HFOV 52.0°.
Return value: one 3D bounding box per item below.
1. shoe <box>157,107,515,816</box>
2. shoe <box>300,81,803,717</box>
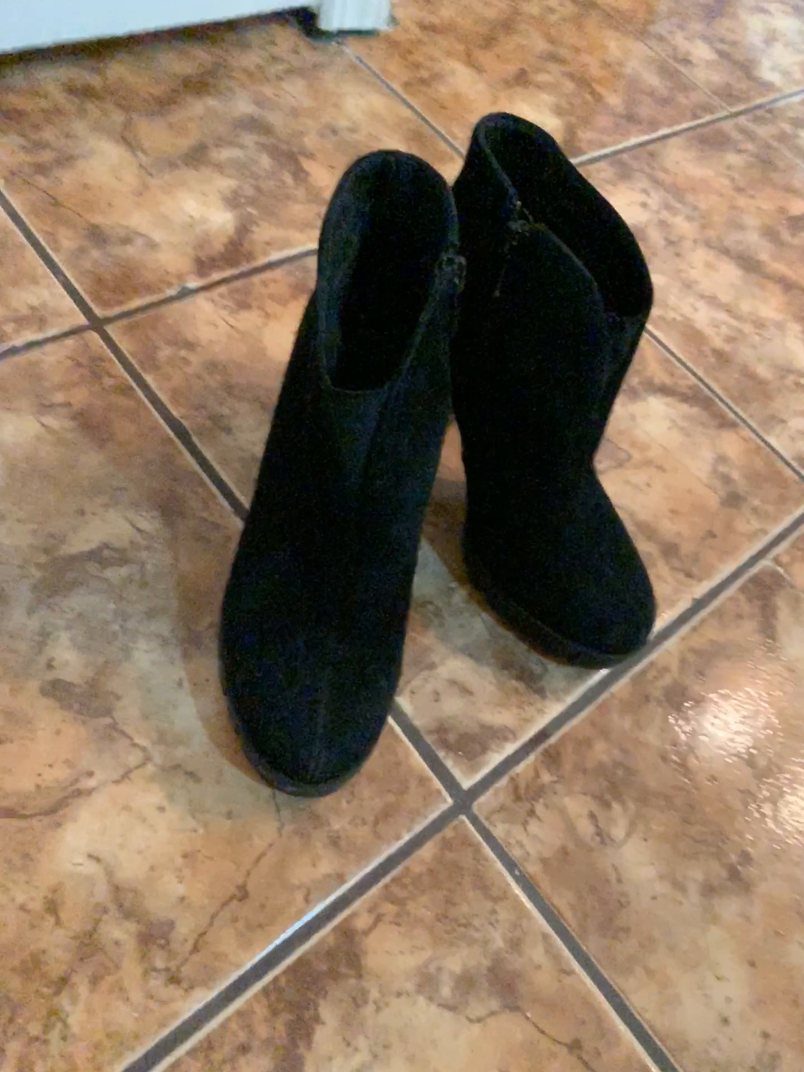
[{"bbox_3d":[-0.031,-0.024,0.352,0.094,0.180,0.230,7,56,-9],"label":"shoe"},{"bbox_3d":[0.061,-0.062,0.400,0.094,0.180,0.229,-27,67,-28],"label":"shoe"}]
